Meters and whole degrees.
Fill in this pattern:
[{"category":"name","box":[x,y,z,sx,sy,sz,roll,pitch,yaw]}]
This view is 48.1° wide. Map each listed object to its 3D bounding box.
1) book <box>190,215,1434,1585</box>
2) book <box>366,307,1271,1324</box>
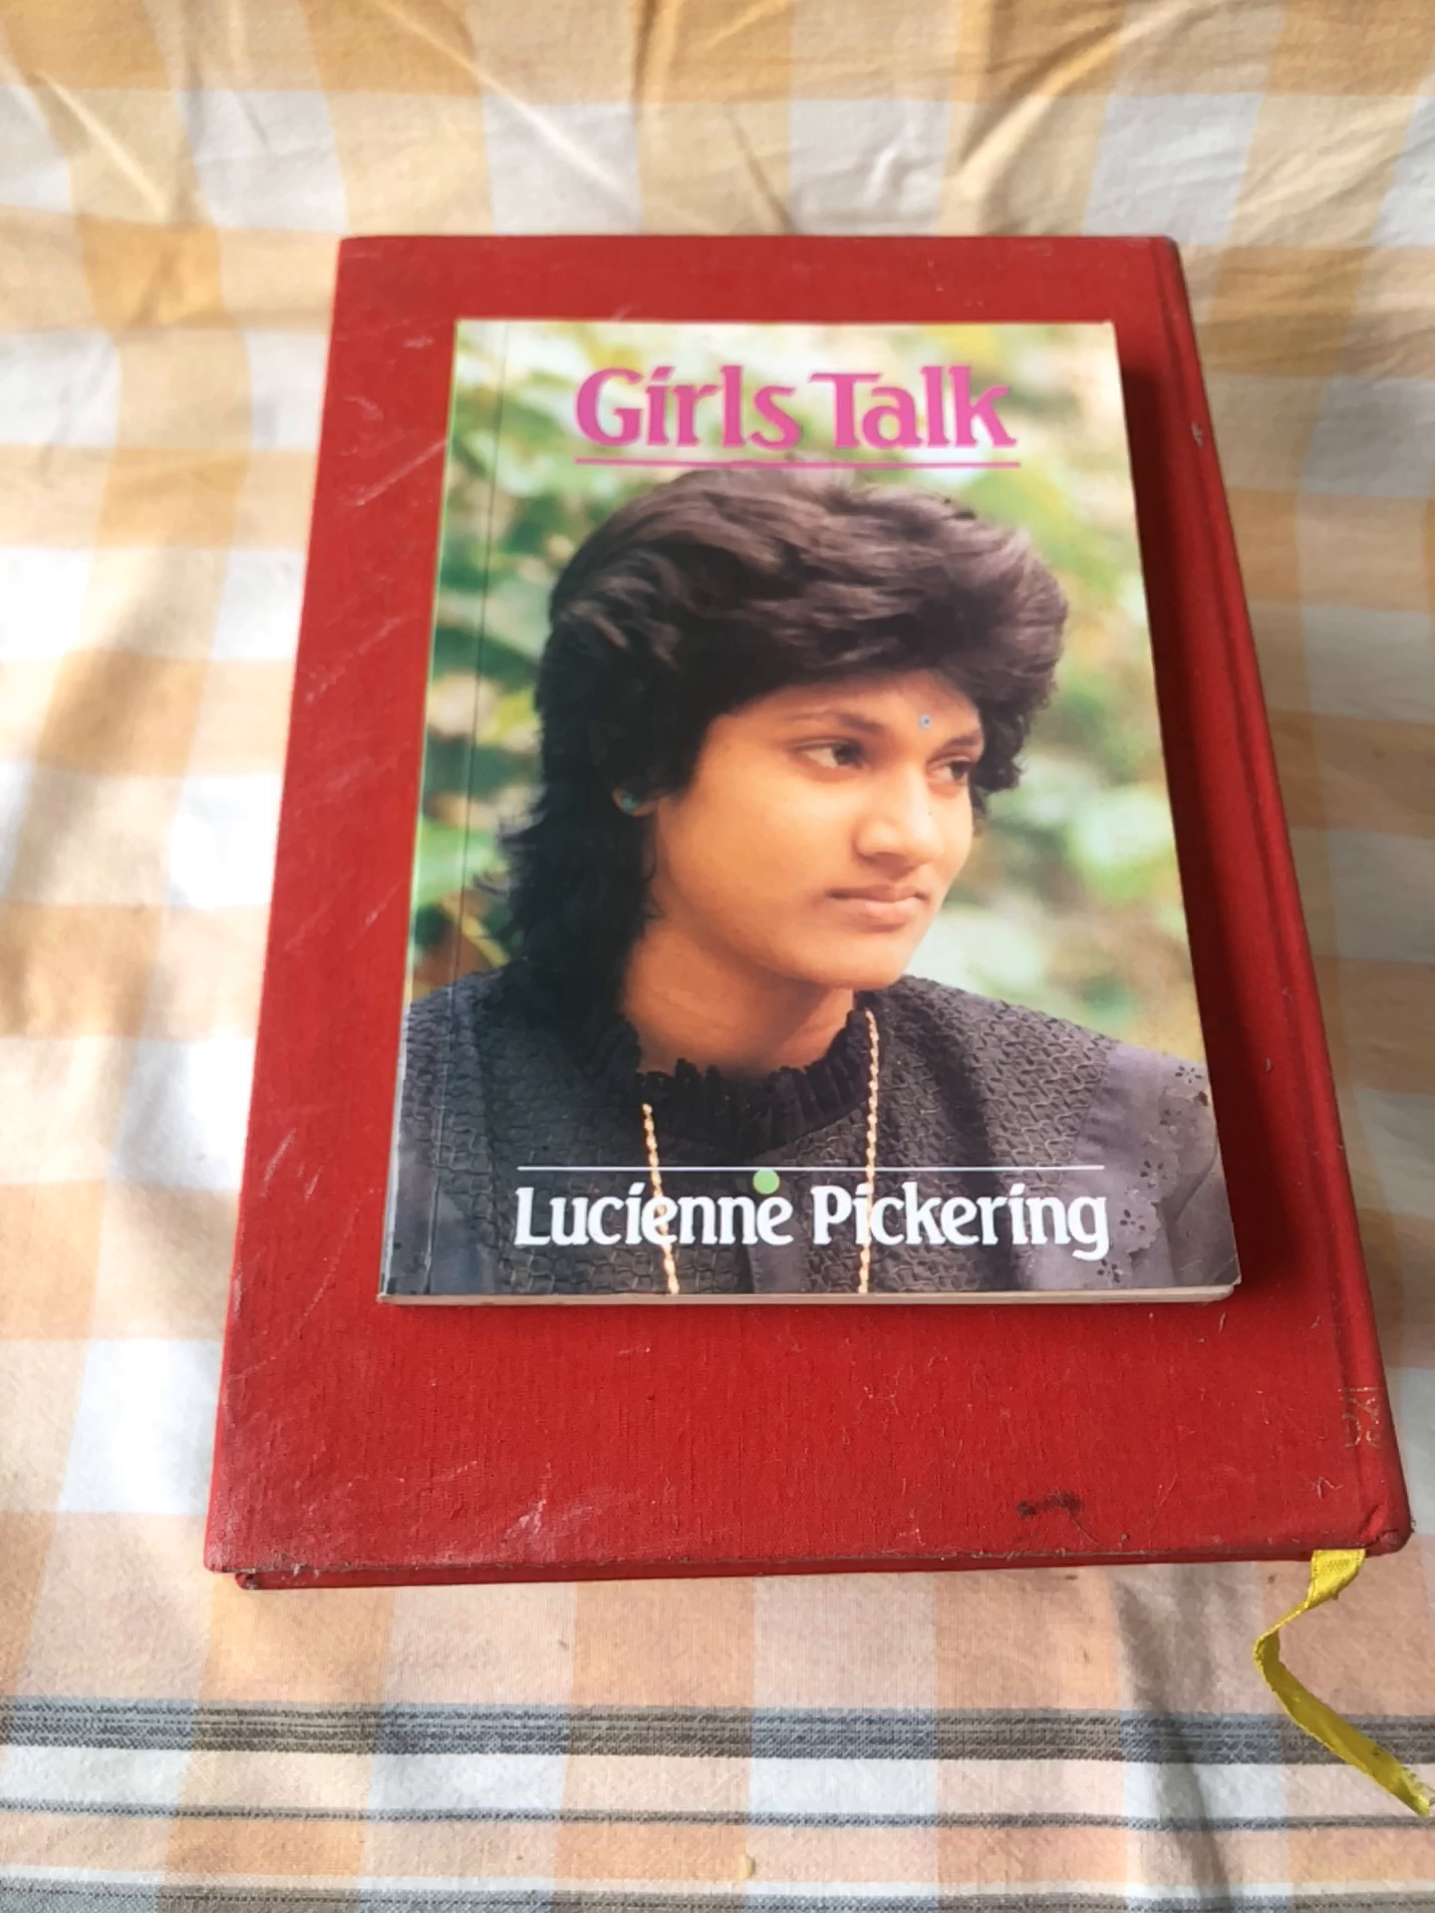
[{"category":"book","box":[0.012,-0.026,0.284,0.174,0.031,0.249,-1,66,-1]},{"category":"book","box":[0.014,-0.032,0.277,0.130,0.025,0.182,0,68,-1]}]
